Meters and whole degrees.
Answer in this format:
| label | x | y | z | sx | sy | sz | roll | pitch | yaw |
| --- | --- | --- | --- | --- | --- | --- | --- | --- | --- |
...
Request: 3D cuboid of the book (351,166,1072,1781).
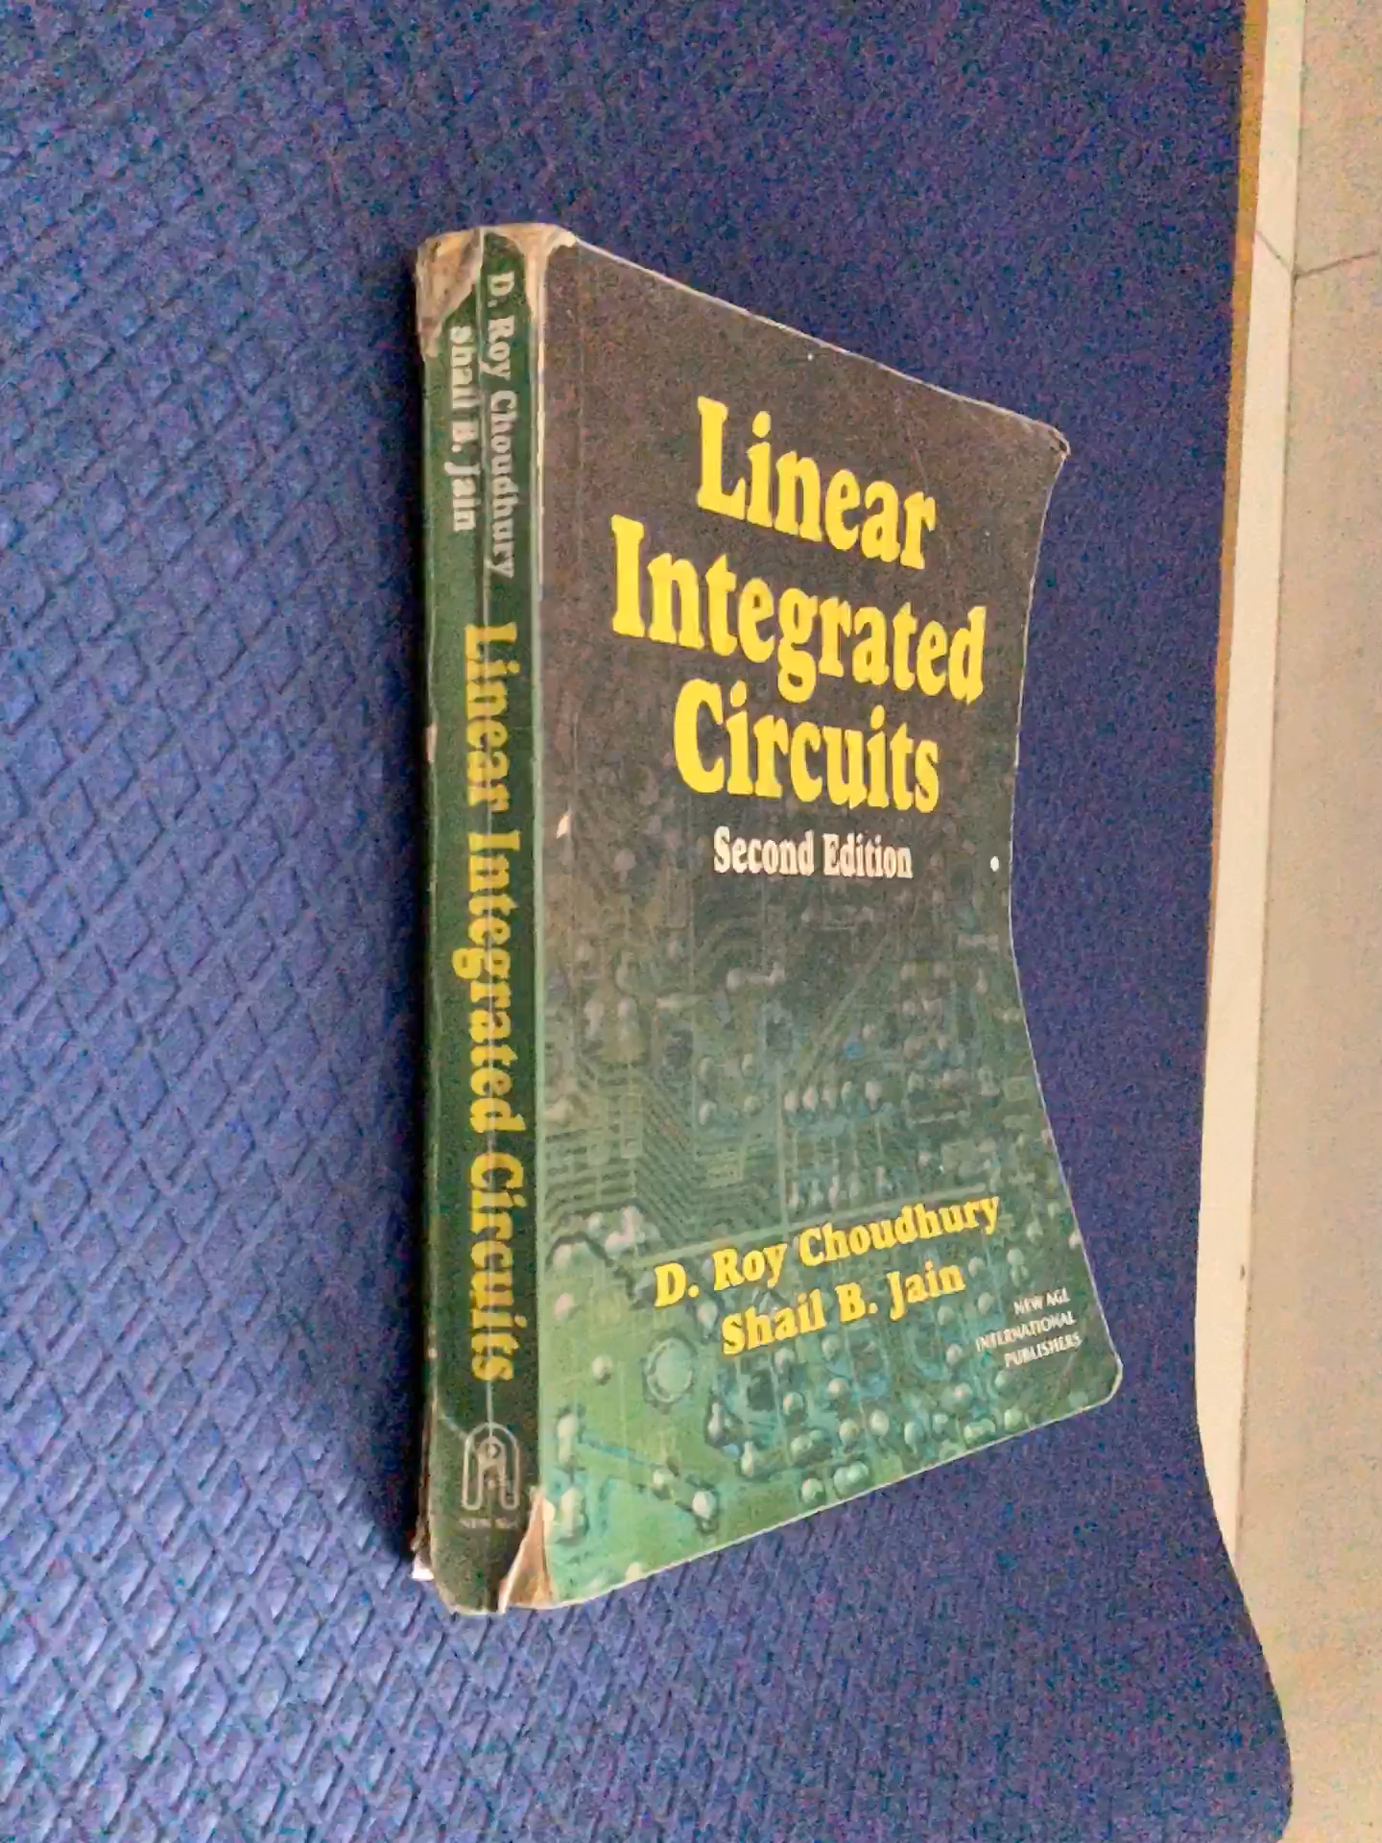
| label | x | y | z | sx | sy | sz | roll | pitch | yaw |
| --- | --- | --- | --- | --- | --- | --- | --- | --- | --- |
| book | 0.018 | 0.008 | 0.321 | 0.191 | 0.040 | 0.270 | 1 | 88 | -46 |
